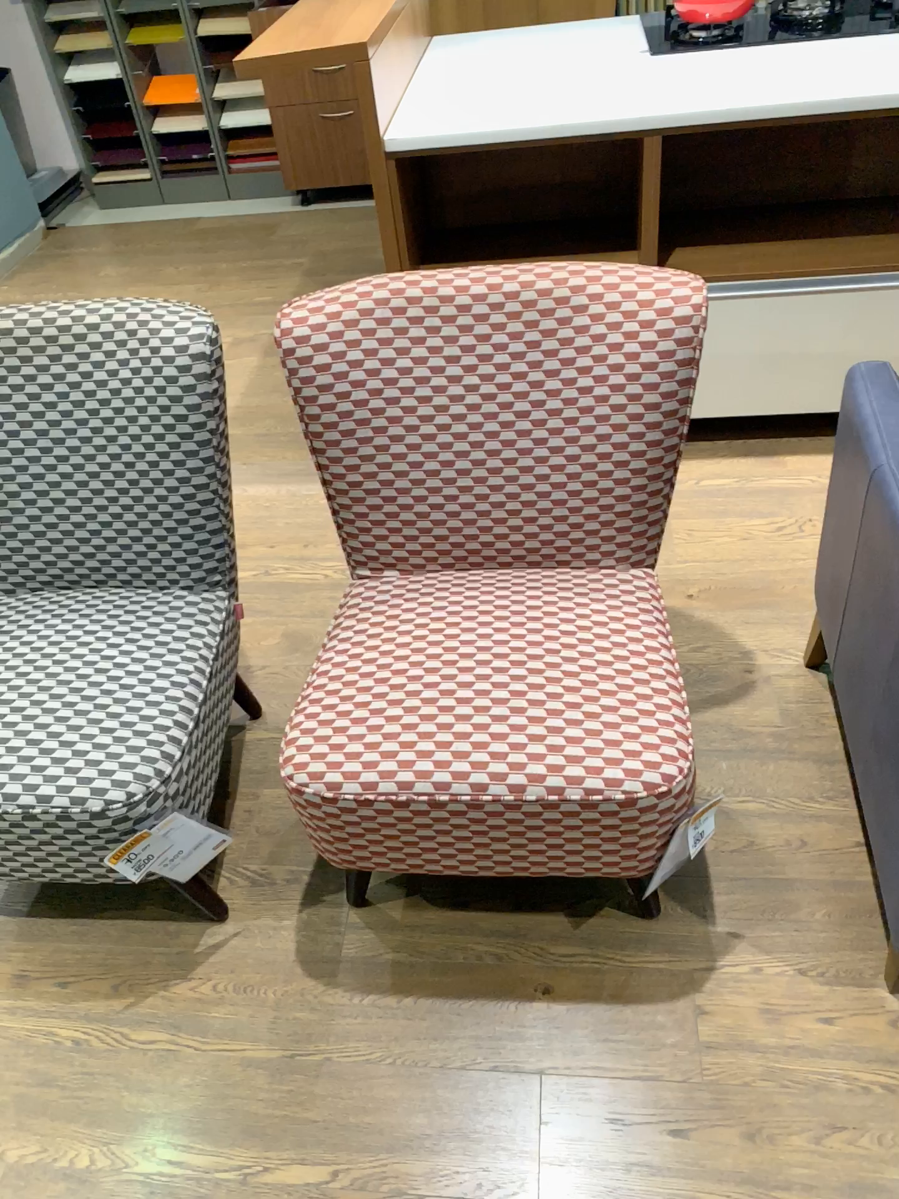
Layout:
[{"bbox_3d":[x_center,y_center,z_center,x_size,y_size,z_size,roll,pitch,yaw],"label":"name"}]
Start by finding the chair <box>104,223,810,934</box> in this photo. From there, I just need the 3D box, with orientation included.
[{"bbox_3d":[0.061,-0.002,1.414,0.700,0.866,0.613,-1,41,8],"label":"chair"}]
